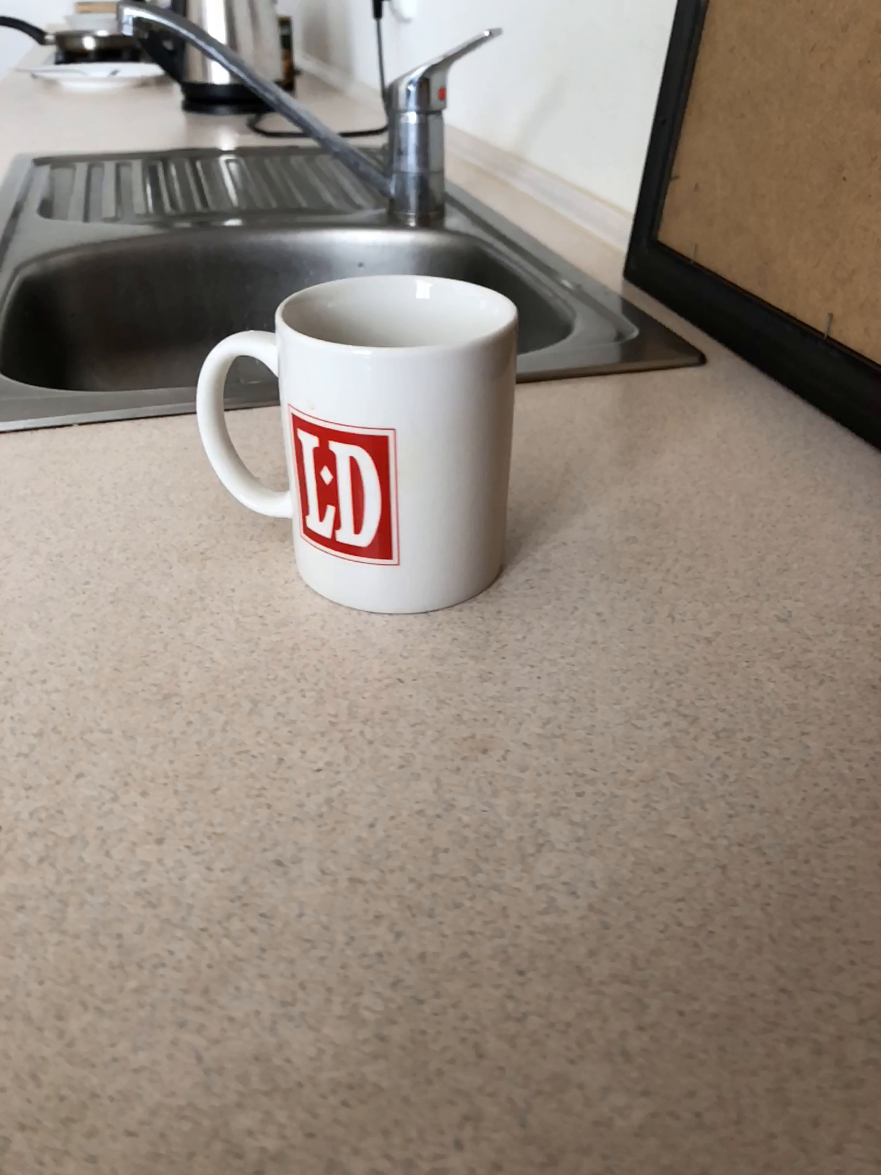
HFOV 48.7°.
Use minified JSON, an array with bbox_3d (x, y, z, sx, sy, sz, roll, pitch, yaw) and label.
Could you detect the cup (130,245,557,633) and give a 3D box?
[{"bbox_3d":[-0.029,-0.059,0.354,0.120,0.099,0.084,11,34,15],"label":"cup"}]
